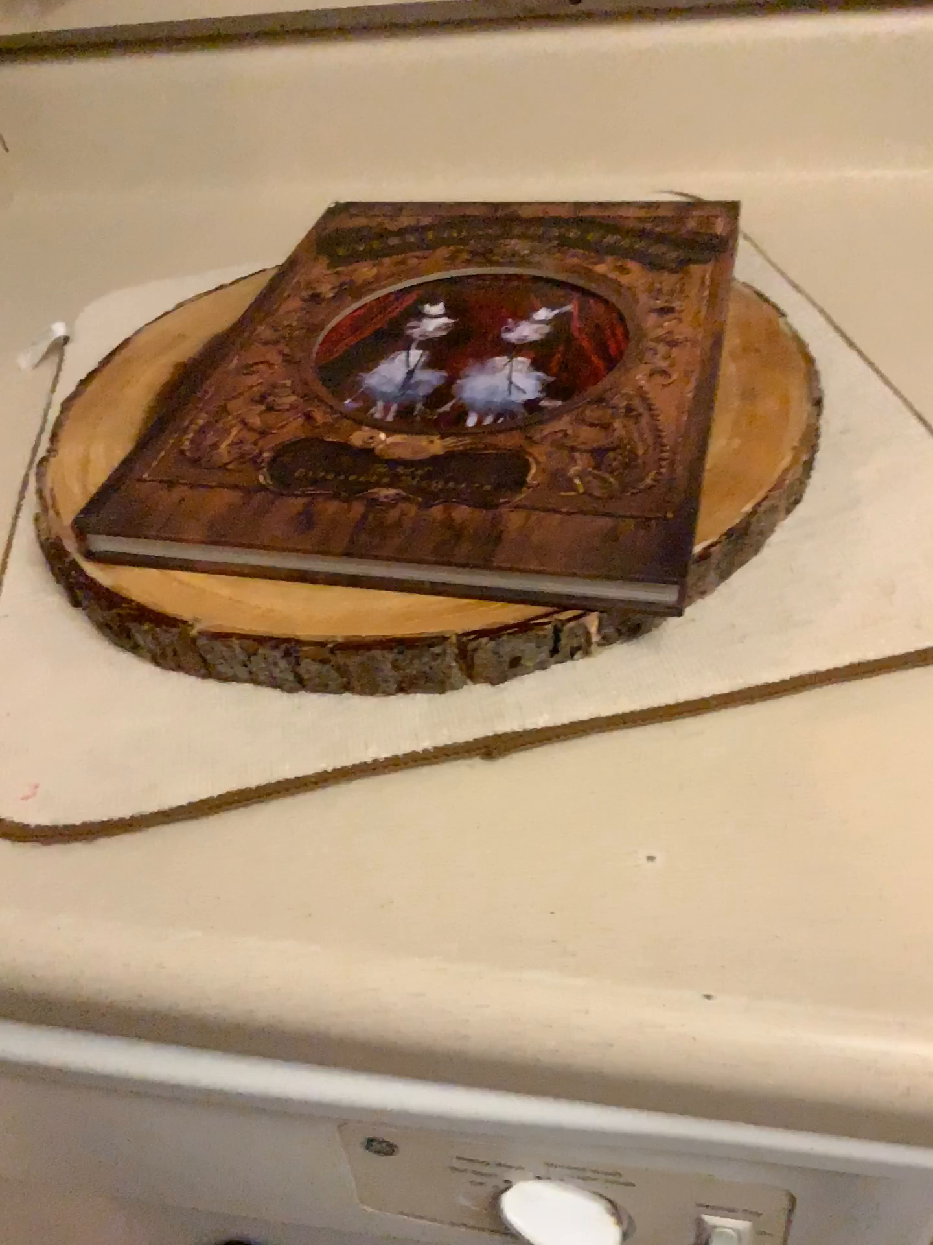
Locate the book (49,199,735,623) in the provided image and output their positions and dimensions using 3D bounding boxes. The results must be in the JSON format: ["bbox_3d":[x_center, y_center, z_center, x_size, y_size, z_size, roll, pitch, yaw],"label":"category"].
[{"bbox_3d":[-0.006,-0.122,0.473,0.230,0.020,0.310,5,44,14],"label":"book"}]
